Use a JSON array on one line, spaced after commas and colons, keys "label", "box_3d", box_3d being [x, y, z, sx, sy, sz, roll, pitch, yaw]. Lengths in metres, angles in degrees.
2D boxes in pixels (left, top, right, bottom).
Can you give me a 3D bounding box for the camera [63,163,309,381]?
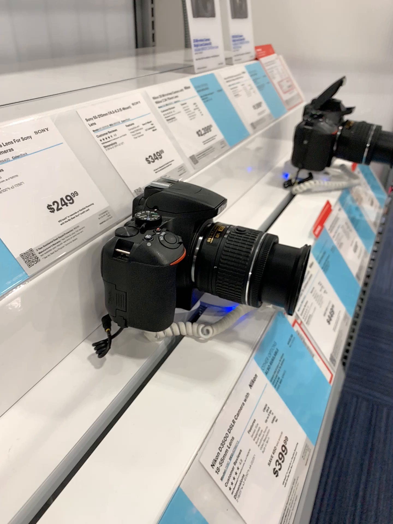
[{"label": "camera", "box_3d": [0.000, -0.005, 0.340, 0.150, 0.099, 0.131, 13, 33, 18]}]
